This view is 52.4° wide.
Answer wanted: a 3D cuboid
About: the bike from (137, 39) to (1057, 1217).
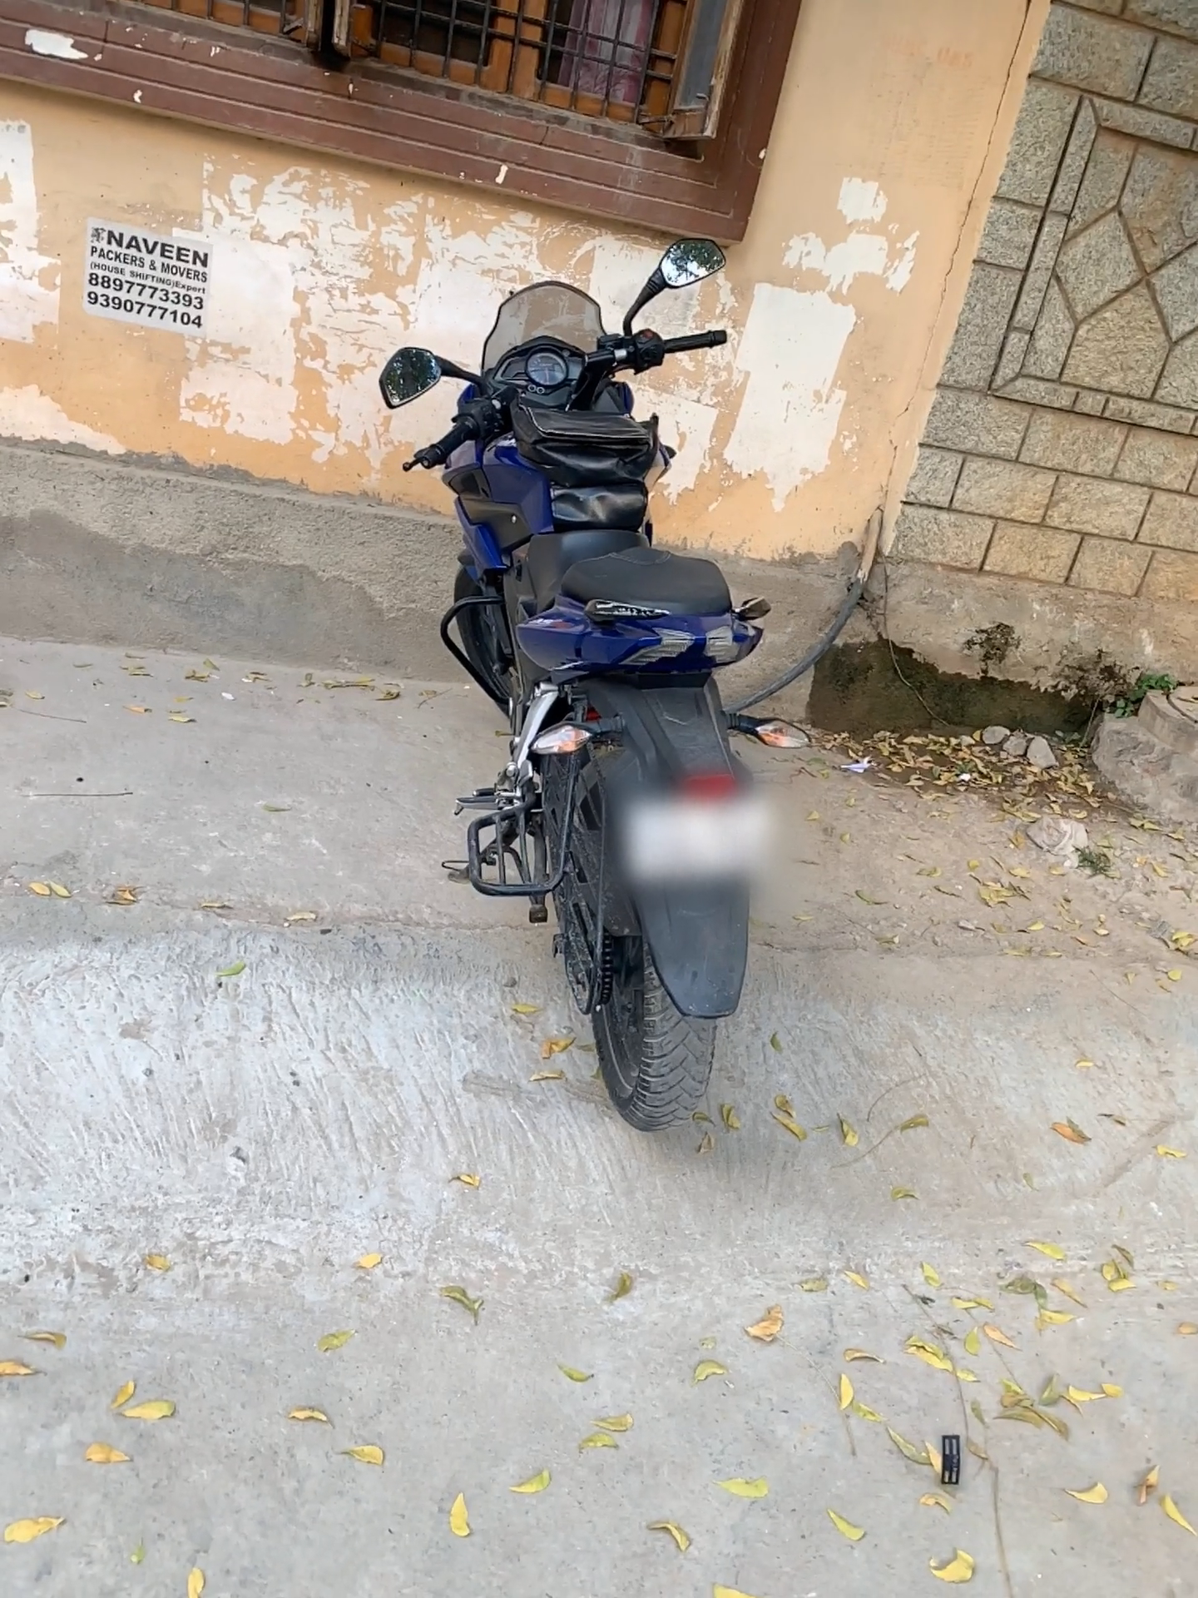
[{"bbox_3d":[-0.261,-0.399,2.200,0.953,1.218,1.573,2,34,-22],"label":"bike"}]
